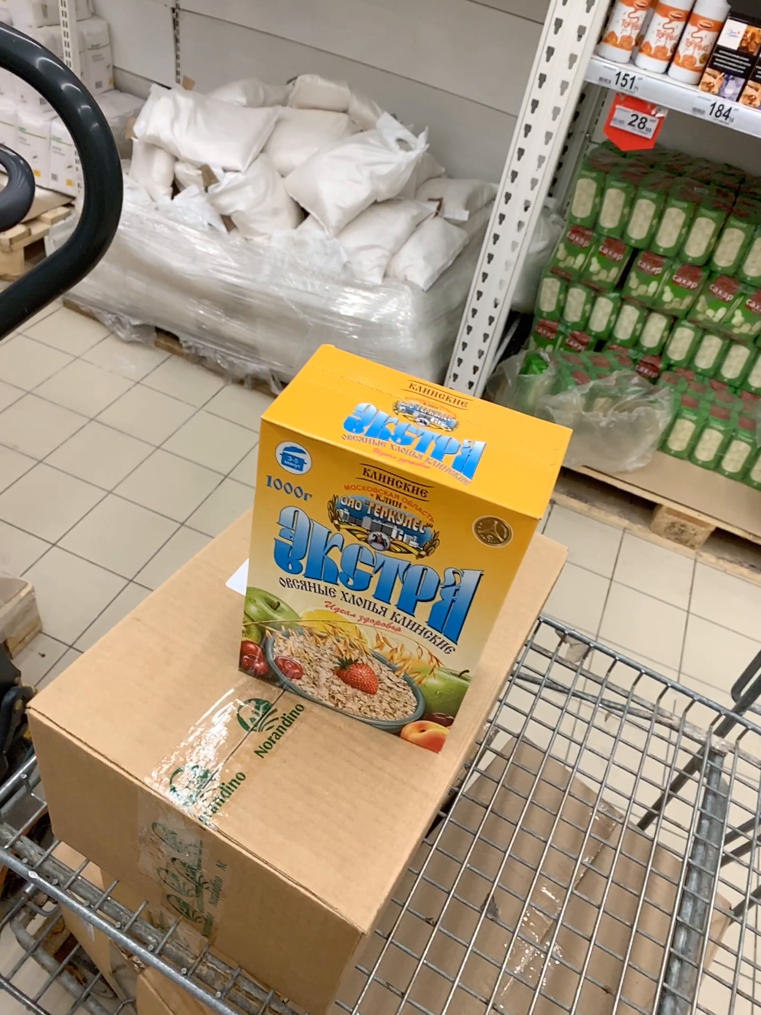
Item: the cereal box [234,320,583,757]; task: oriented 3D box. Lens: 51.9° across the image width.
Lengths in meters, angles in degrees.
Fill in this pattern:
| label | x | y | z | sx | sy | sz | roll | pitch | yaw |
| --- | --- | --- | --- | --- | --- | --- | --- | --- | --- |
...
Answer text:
| label | x | y | z | sx | sy | sz | roll | pitch | yaw |
| --- | --- | --- | --- | --- | --- | --- | --- | --- | --- |
| cereal box | 0.006 | 0.030 | 0.509 | 0.160 | 0.239 | 0.101 | 20 | 43 | 7 |
